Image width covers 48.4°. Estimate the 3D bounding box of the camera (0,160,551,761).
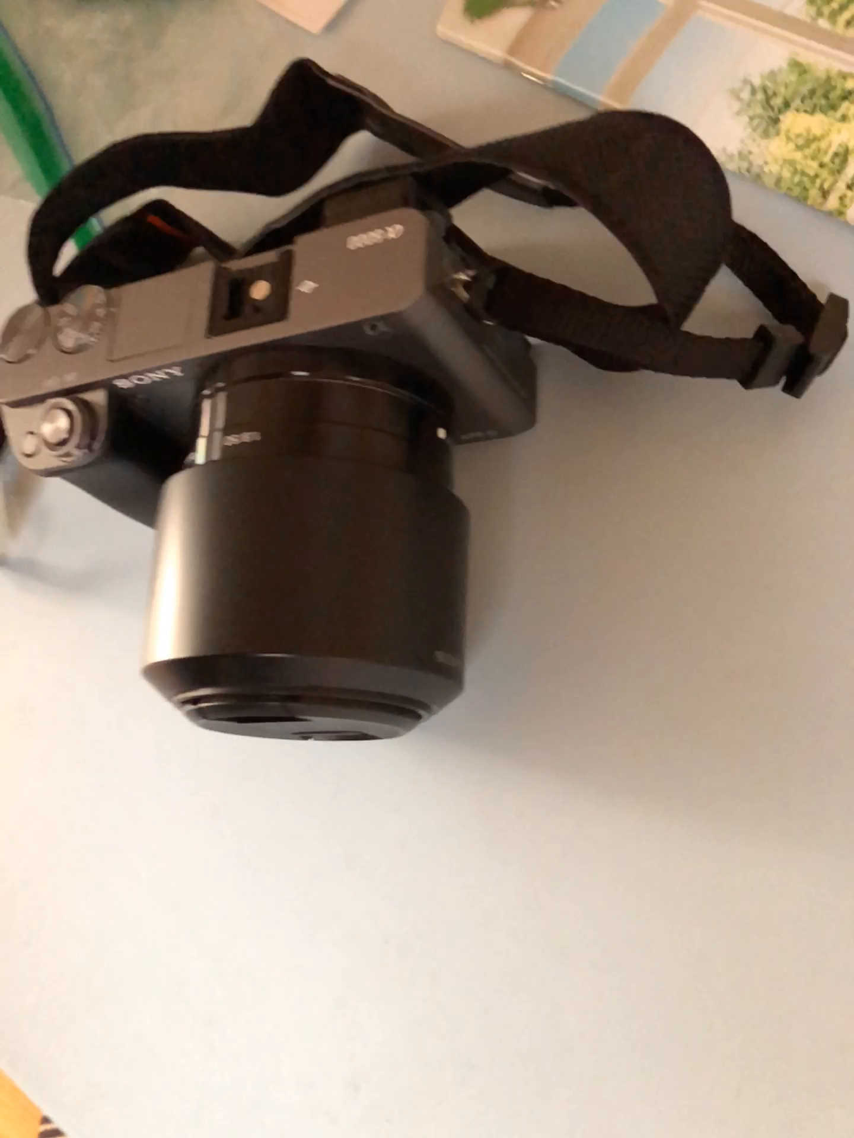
[{"bbox_3d":[-0.044,-0.013,0.229,0.130,0.070,0.110,-5,73,26],"label":"camera"}]
